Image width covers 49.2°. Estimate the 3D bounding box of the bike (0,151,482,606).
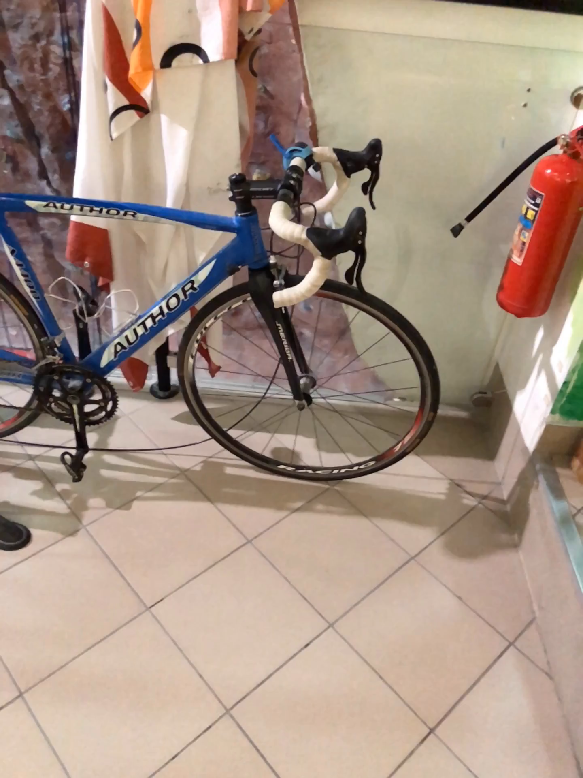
[{"bbox_3d":[-0.430,-0.002,1.530,1.552,0.682,0.468,9,38,-2],"label":"bike"}]
